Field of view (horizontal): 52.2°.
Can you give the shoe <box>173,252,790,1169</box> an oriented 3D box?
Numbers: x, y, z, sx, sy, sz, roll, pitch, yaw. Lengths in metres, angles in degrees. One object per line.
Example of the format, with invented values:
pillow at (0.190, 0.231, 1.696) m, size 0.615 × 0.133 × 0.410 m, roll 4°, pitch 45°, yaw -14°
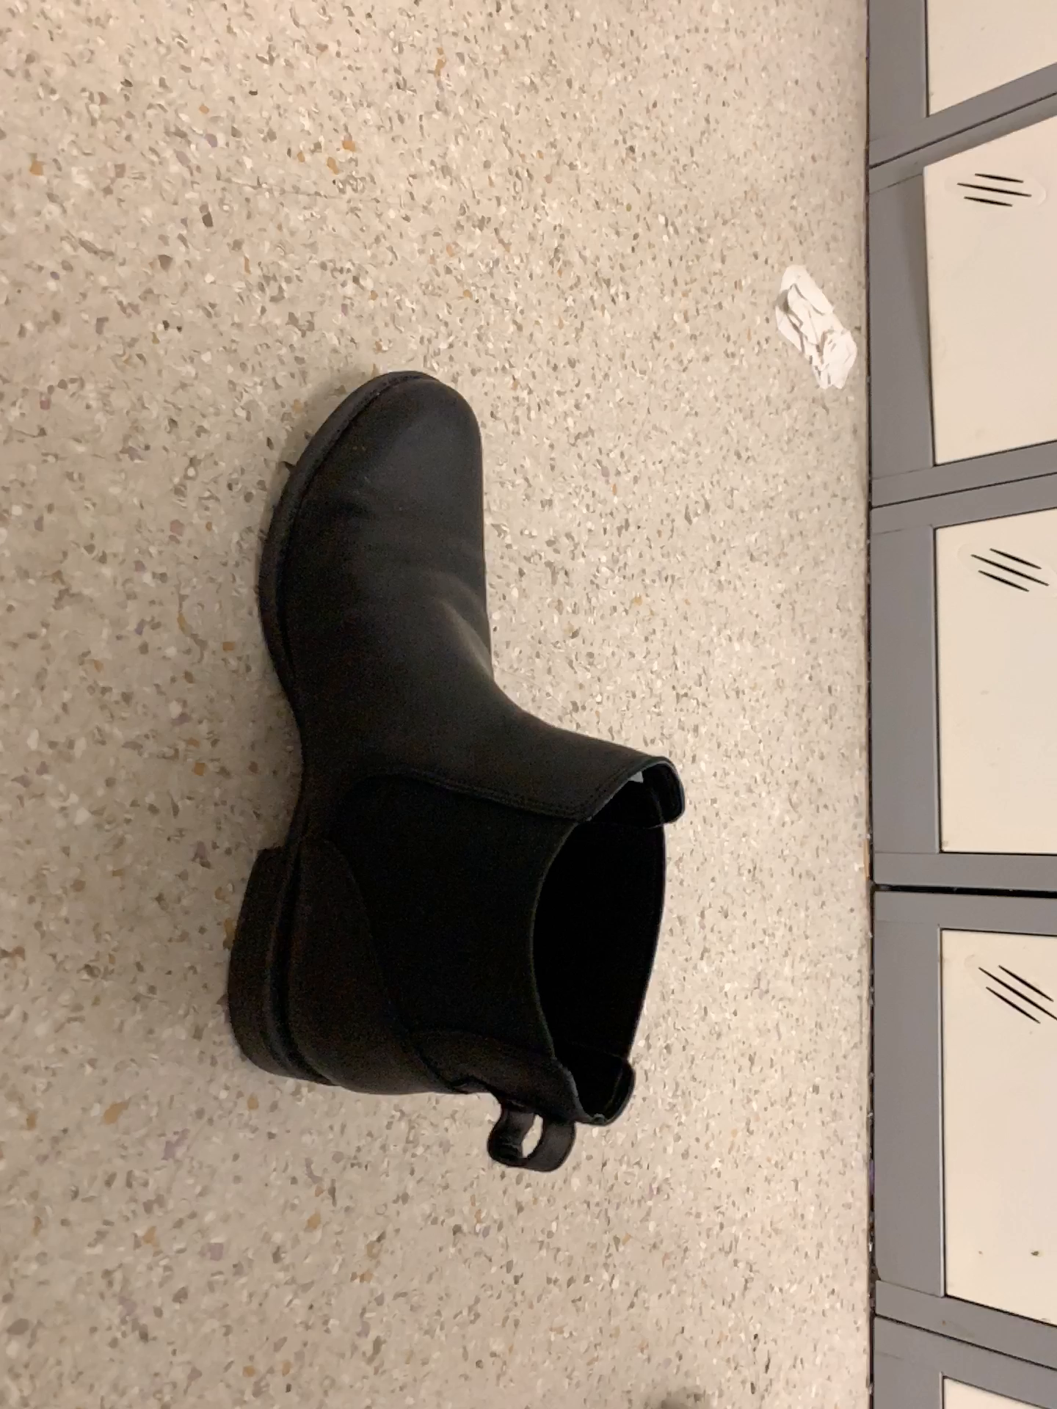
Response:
shoe at (-0.012, 0.007, 0.391) m, size 0.108 × 0.163 × 0.262 m, roll 21°, pitch 71°, yaw -47°
